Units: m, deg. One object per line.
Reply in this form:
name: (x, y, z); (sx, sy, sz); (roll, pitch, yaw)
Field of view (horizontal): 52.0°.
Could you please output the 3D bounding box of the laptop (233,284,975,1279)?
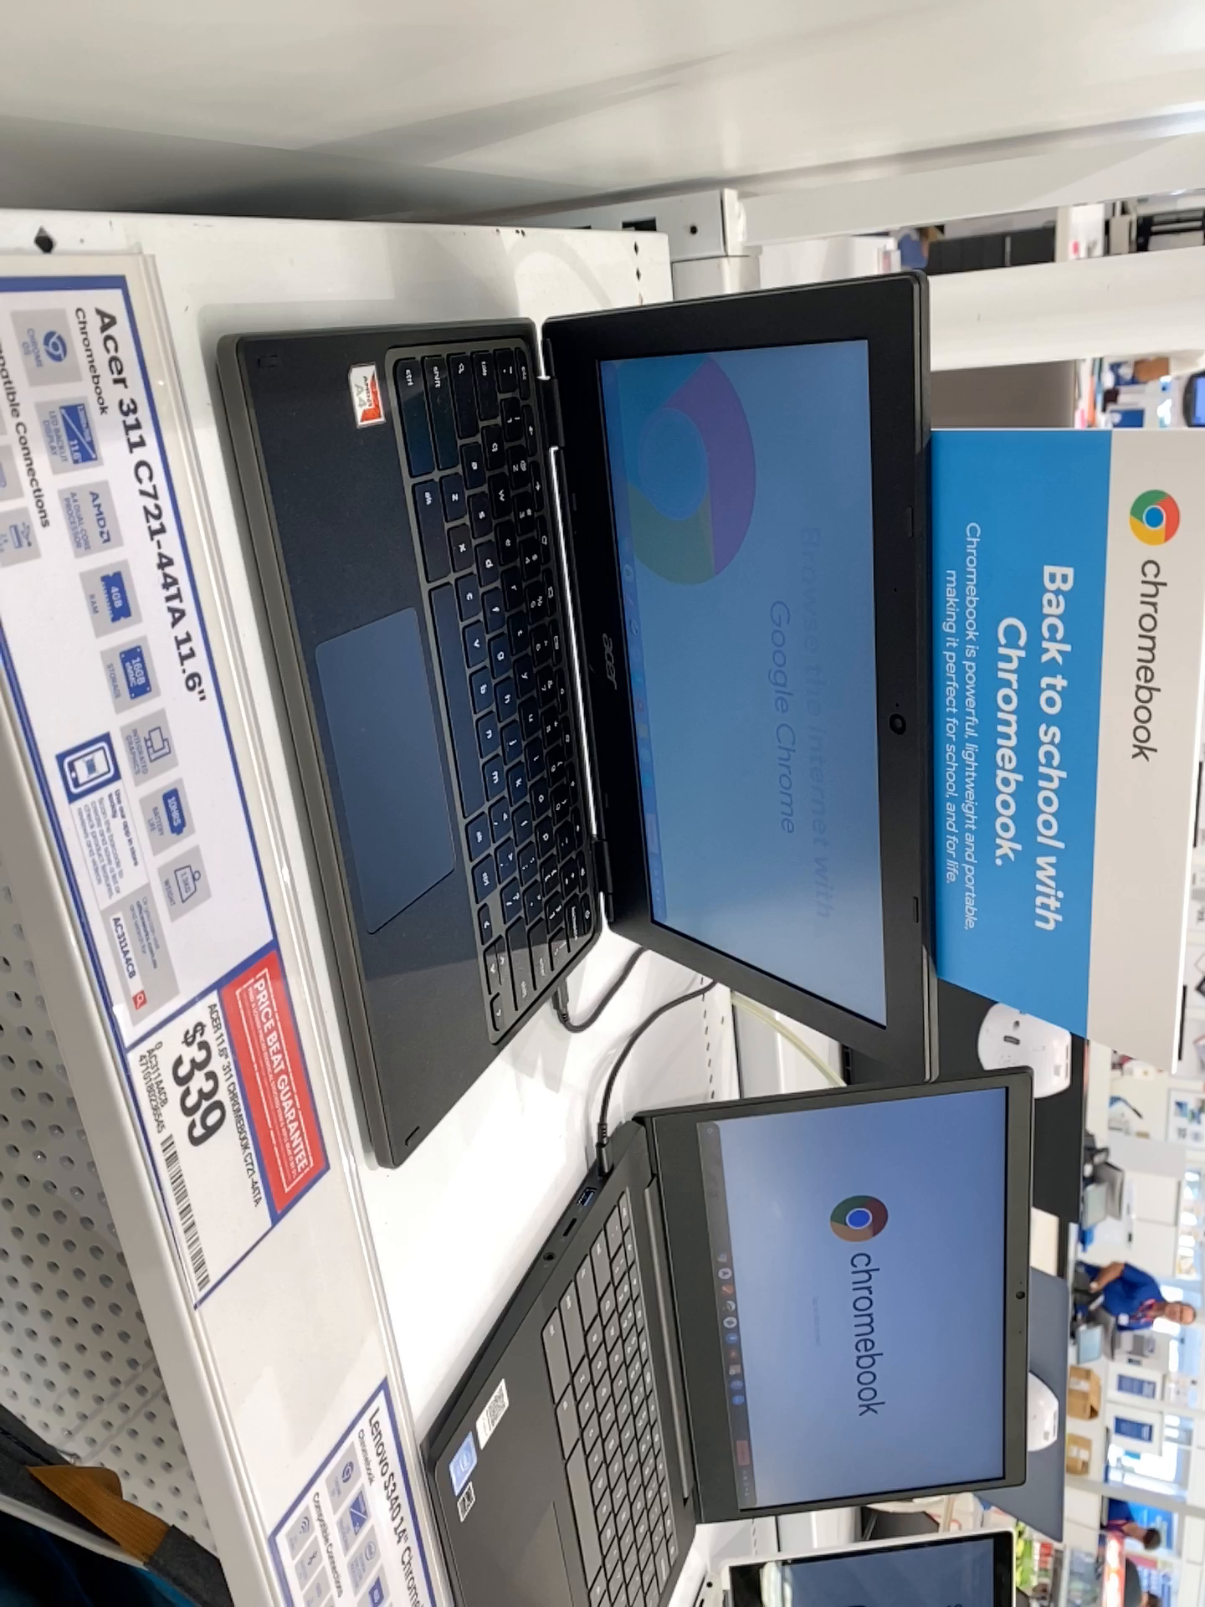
laptop: (0.030, -0.026, 0.460); (0.201, 0.181, 0.290); (-42, 131, -58)
